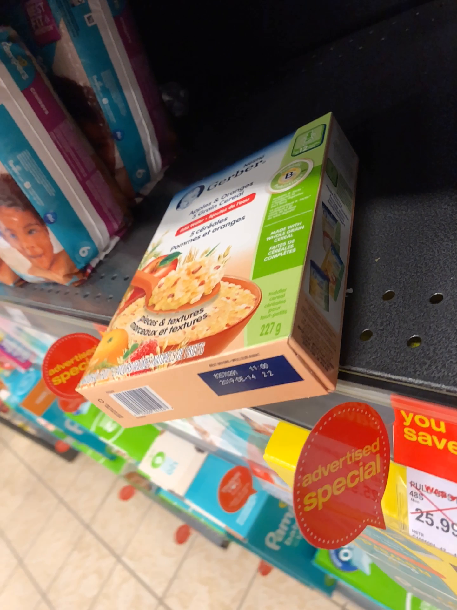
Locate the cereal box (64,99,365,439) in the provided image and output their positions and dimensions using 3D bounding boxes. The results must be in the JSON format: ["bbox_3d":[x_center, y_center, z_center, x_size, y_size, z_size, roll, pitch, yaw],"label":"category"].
[{"bbox_3d":[0.002,-0.027,0.332,0.151,0.050,0.210,-17,39,34],"label":"cereal box"}]
